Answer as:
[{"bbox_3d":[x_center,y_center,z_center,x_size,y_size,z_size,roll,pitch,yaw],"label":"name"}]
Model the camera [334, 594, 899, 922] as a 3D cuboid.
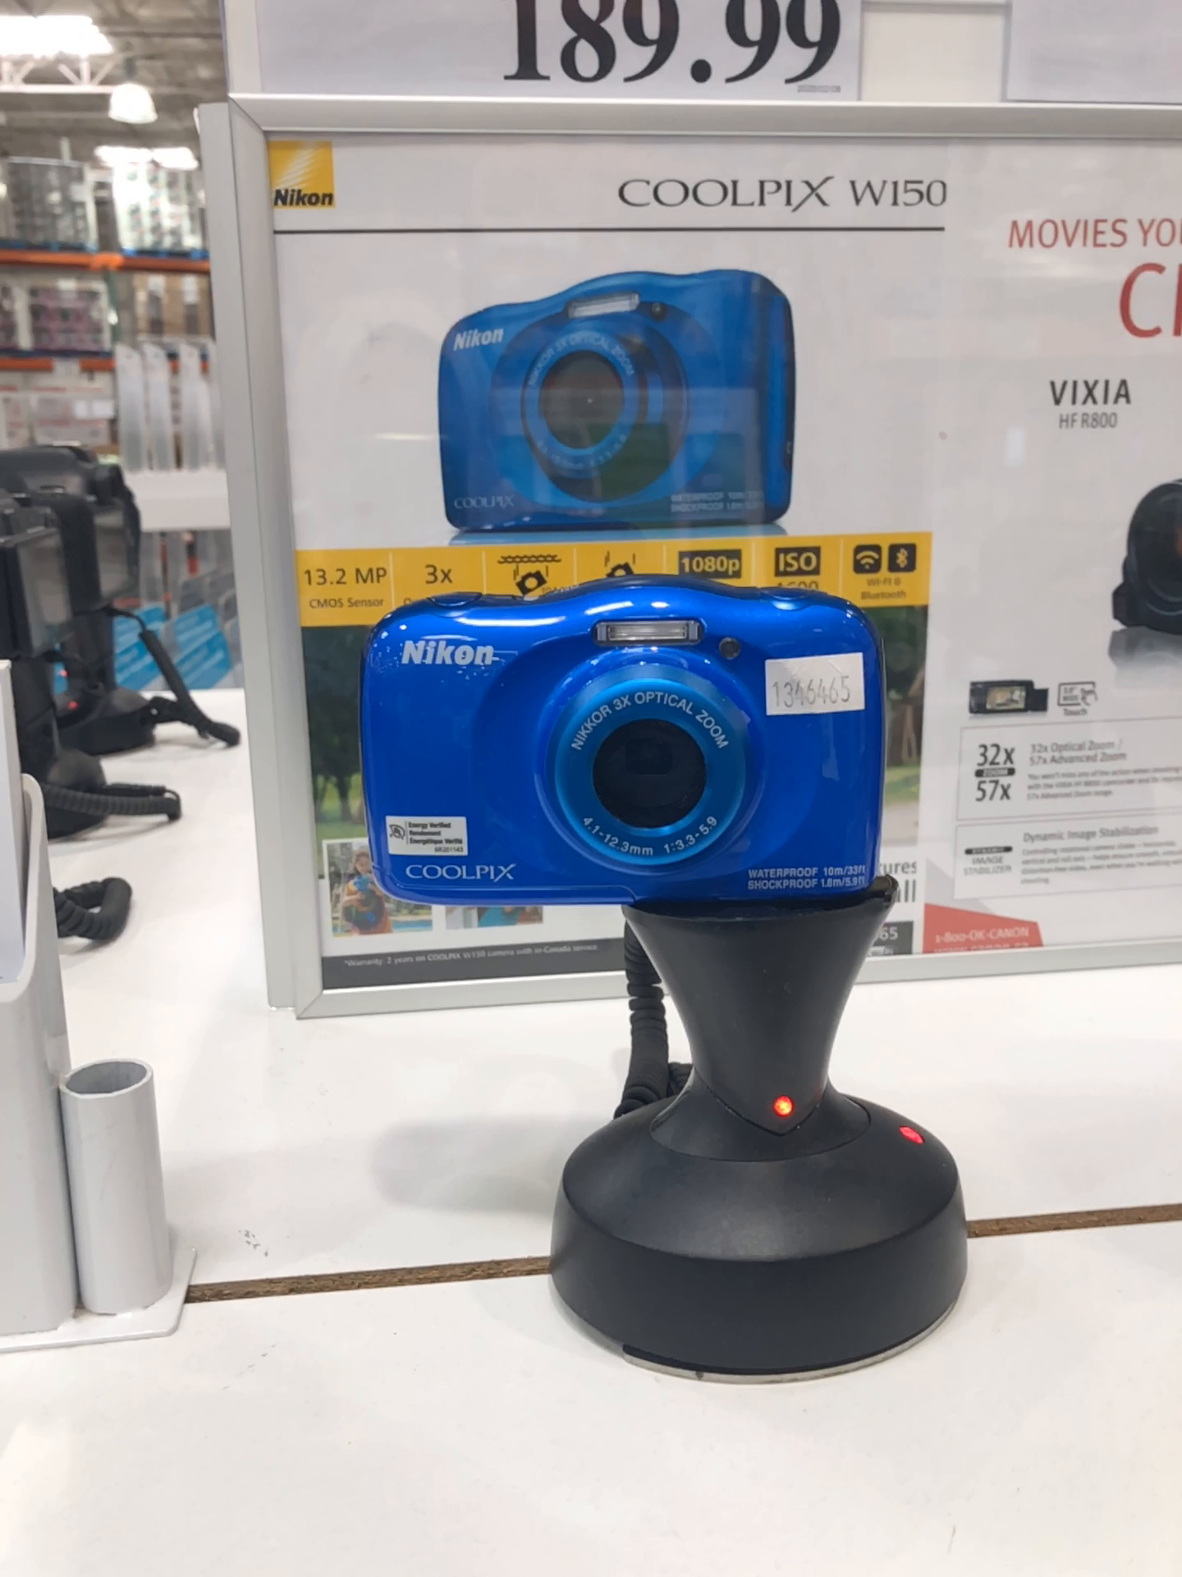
[{"bbox_3d":[0.005,-0.008,0.282,0.110,0.060,0.040,-2,13,-3],"label":"camera"}]
